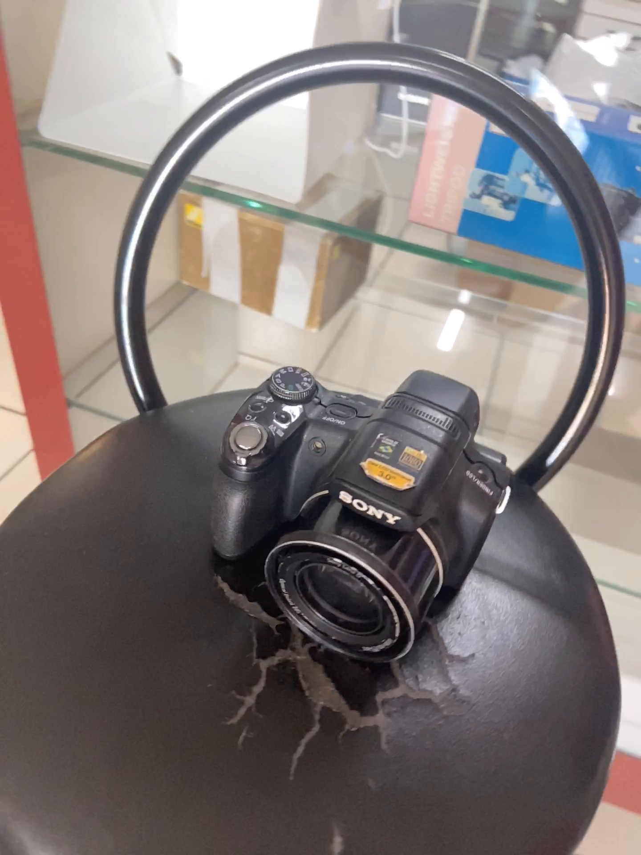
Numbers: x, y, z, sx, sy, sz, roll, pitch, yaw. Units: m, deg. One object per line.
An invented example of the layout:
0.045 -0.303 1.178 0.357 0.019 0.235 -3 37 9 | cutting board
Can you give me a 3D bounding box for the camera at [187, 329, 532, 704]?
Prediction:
0.016 0.030 0.280 0.100 0.079 0.101 23 42 18 | camera
